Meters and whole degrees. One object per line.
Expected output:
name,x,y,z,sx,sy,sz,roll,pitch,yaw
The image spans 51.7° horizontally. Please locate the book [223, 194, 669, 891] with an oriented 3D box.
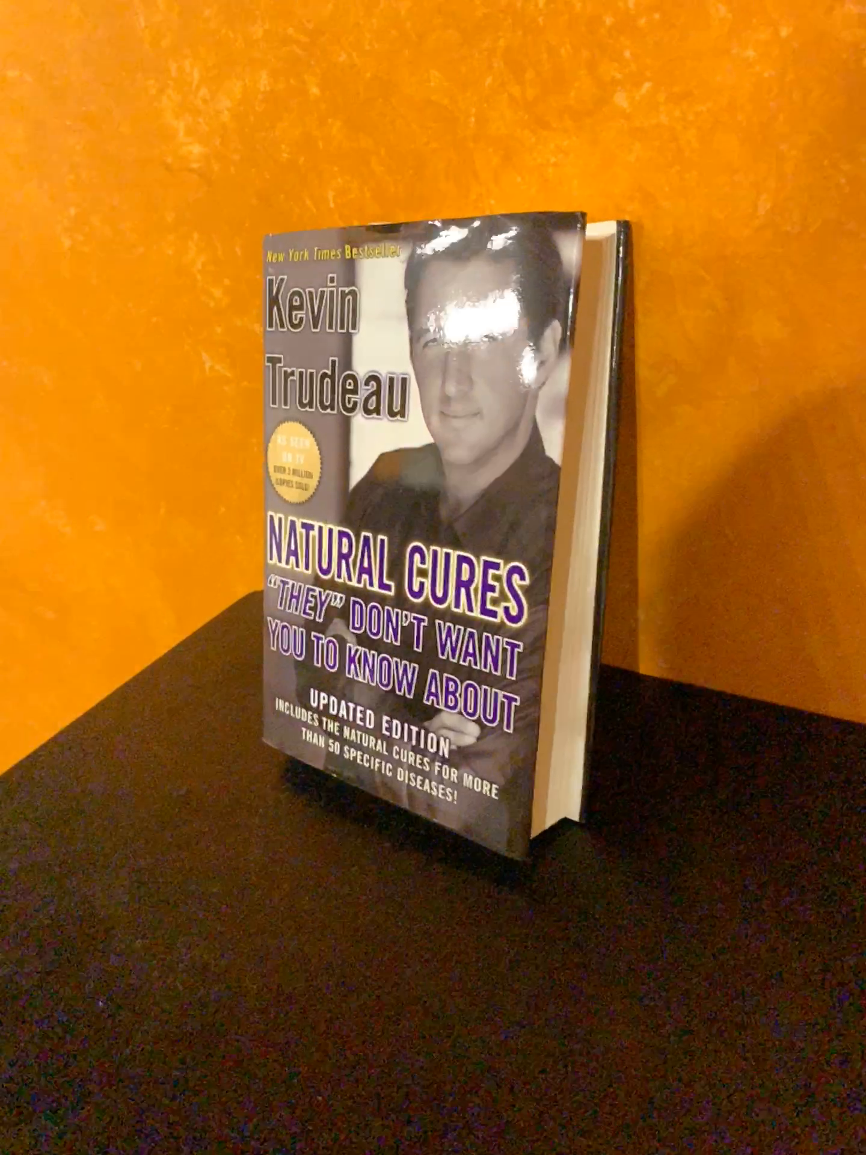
book,-0.010,-0.021,0.366,0.181,0.229,0.050,13,15,39
